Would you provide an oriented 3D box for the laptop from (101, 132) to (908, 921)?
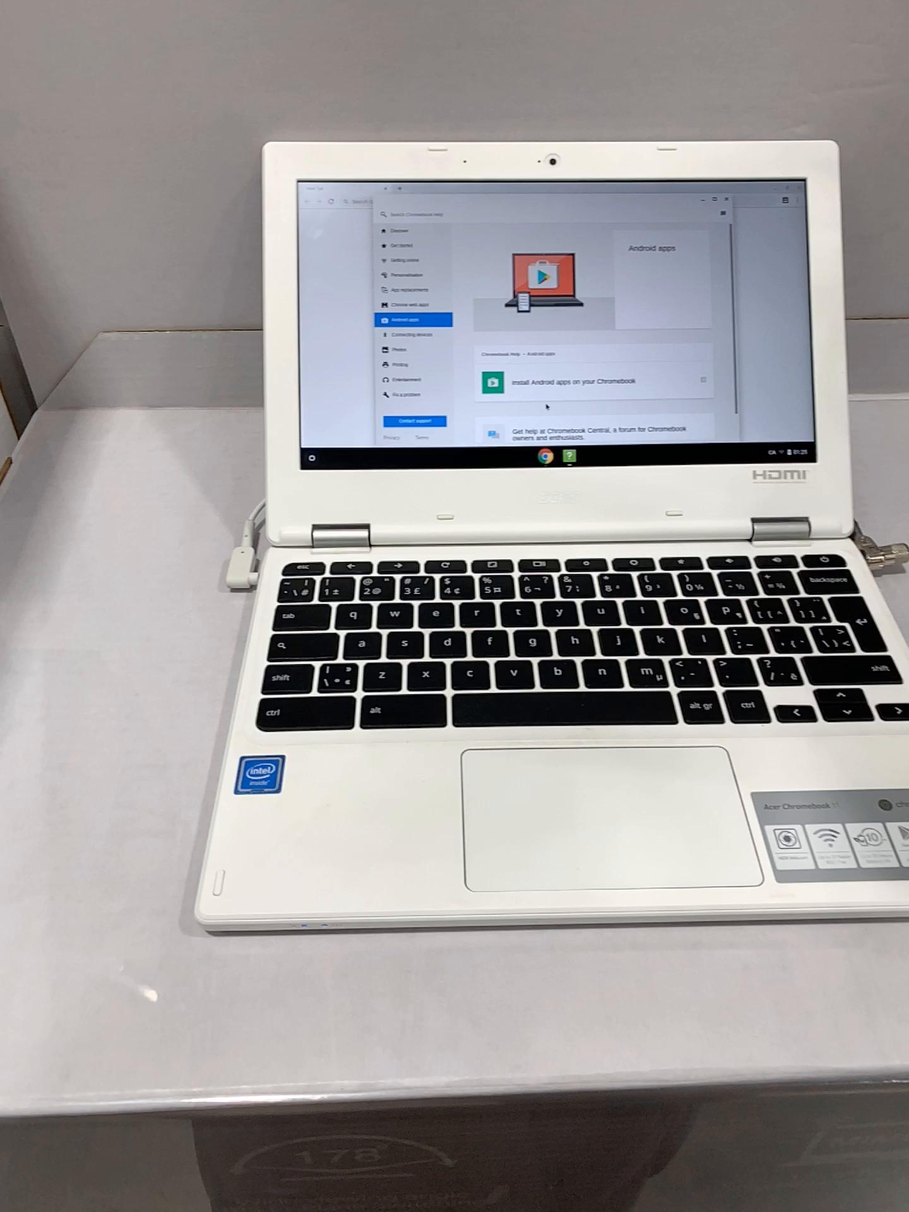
[{"bbox_3d":[0.055,-0.062,0.383,0.282,0.132,0.330,0,46,-1],"label":"laptop"}]
